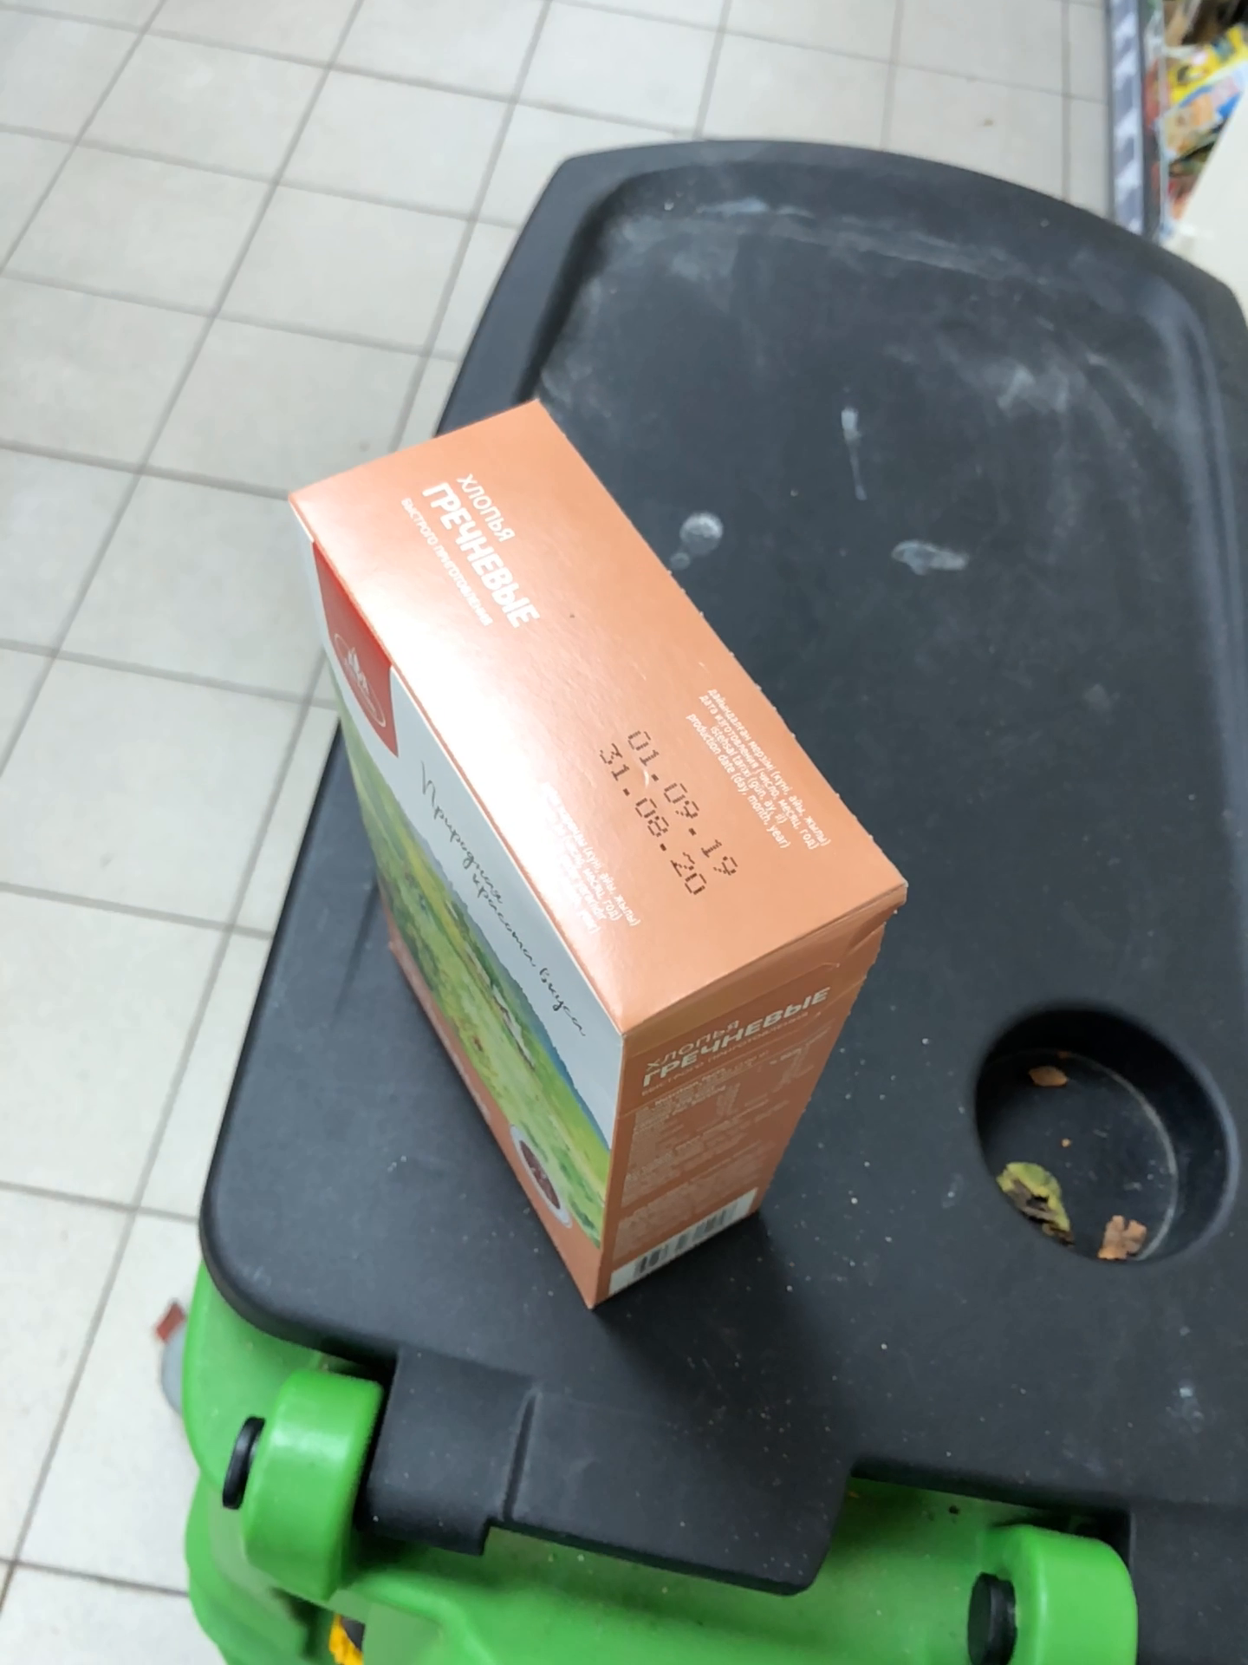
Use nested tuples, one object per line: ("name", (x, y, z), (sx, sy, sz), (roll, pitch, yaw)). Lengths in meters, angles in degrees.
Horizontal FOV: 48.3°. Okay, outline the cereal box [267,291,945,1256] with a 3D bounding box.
("cereal box", (-0.012, 0.004, 0.345), (0.060, 0.209, 0.140), (-27, 65, -16))
